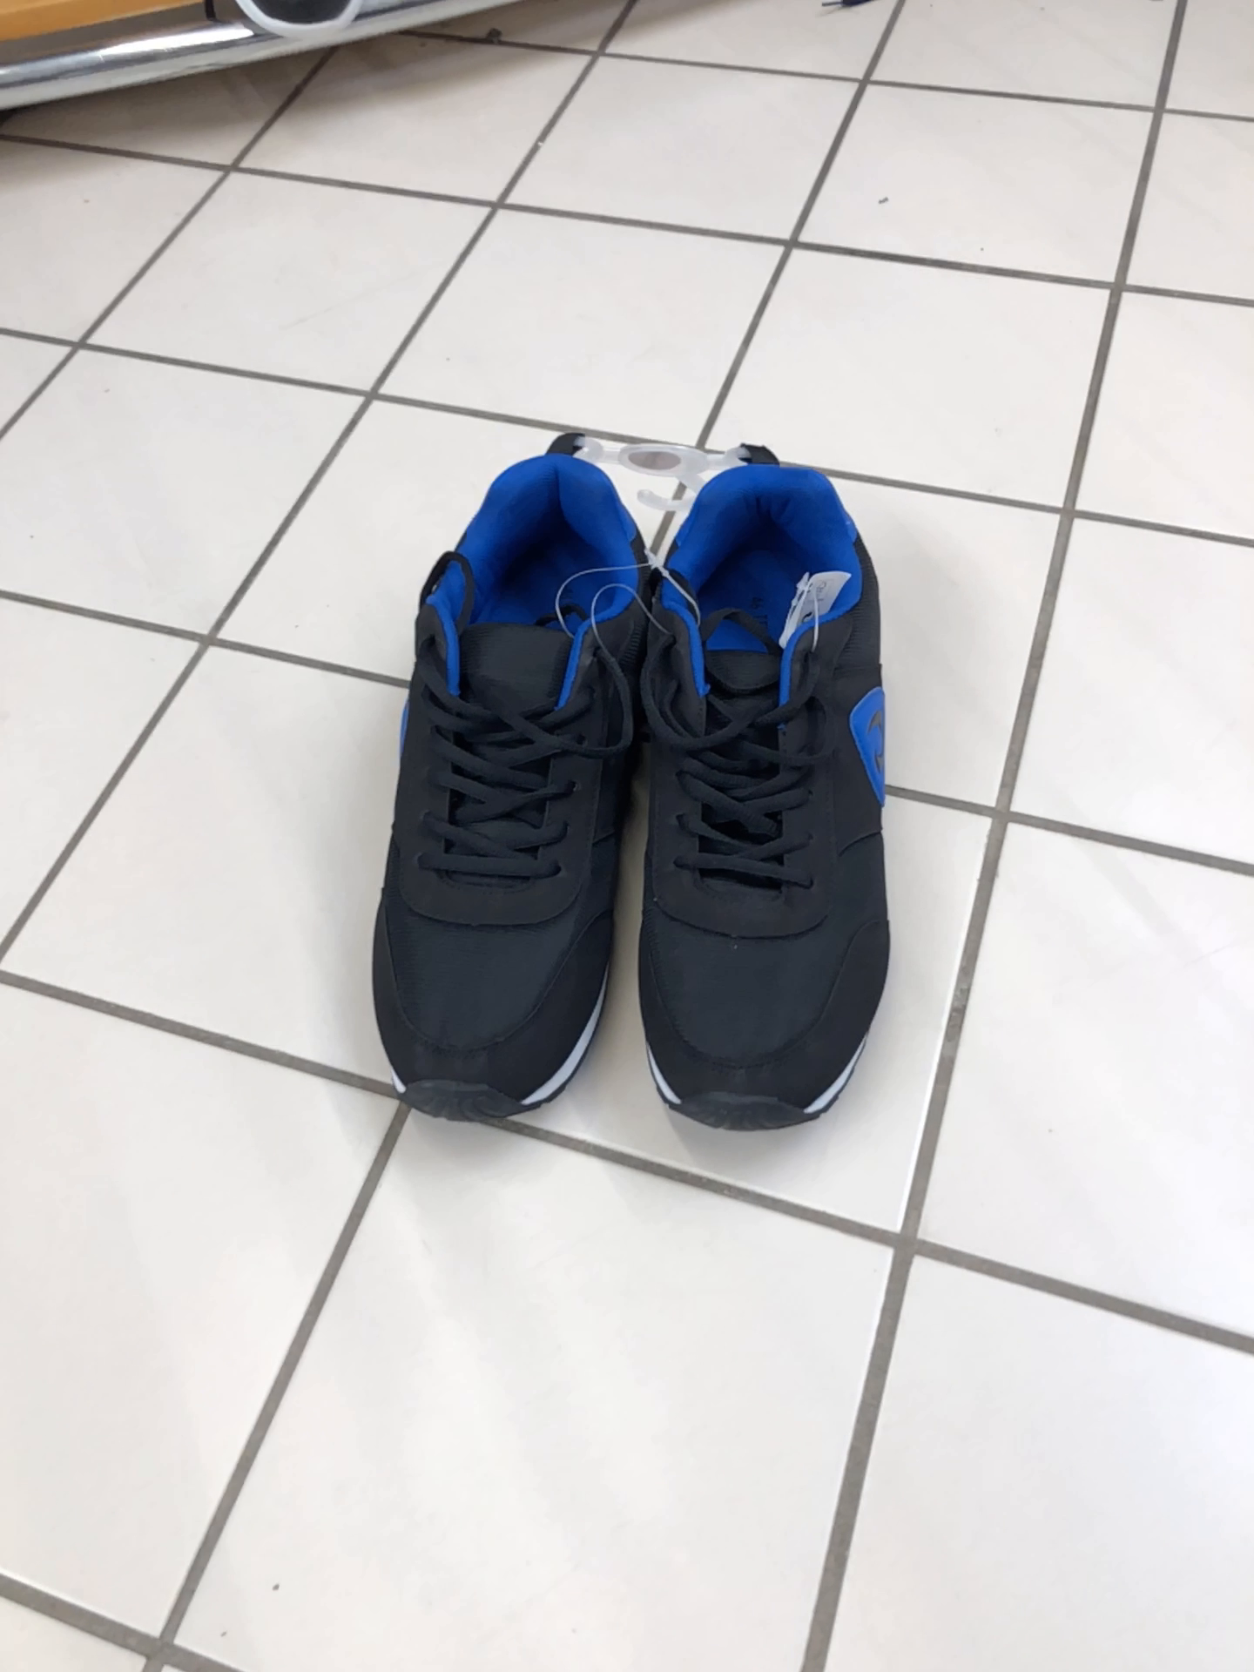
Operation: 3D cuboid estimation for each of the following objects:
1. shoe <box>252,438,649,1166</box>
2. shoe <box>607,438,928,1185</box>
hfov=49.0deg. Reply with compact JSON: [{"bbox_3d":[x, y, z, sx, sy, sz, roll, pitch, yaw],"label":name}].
[{"bbox_3d":[-0.056,-0.026,0.572,0.100,0.110,0.291,2,55,6],"label":"shoe"},{"bbox_3d":[0.061,-0.022,0.558,0.100,0.110,0.291,2,55,6],"label":"shoe"}]
